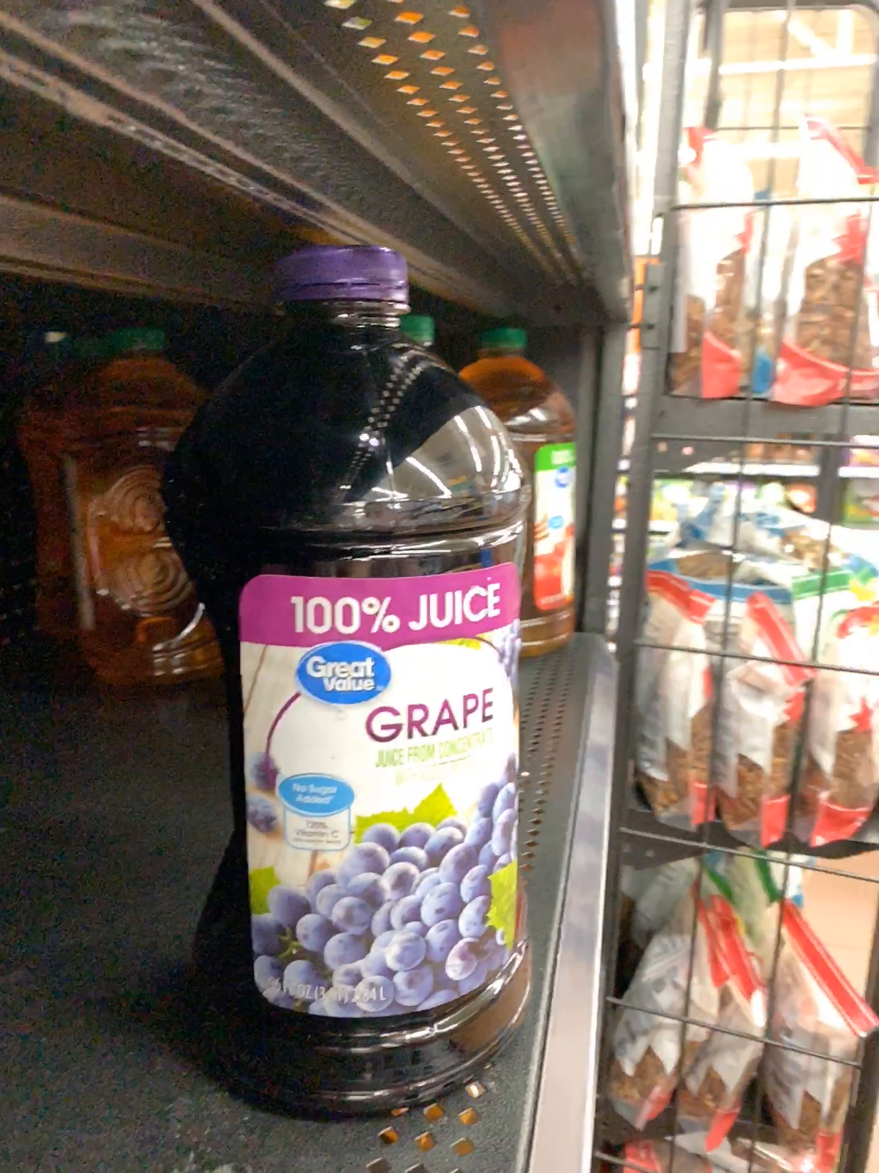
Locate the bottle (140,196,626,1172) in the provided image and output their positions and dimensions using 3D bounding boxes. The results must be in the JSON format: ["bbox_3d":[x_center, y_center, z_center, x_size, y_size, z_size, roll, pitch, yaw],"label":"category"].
[{"bbox_3d":[-0.033,0.024,0.330,0.130,0.279,0.140,1,13,0],"label":"bottle"}]
